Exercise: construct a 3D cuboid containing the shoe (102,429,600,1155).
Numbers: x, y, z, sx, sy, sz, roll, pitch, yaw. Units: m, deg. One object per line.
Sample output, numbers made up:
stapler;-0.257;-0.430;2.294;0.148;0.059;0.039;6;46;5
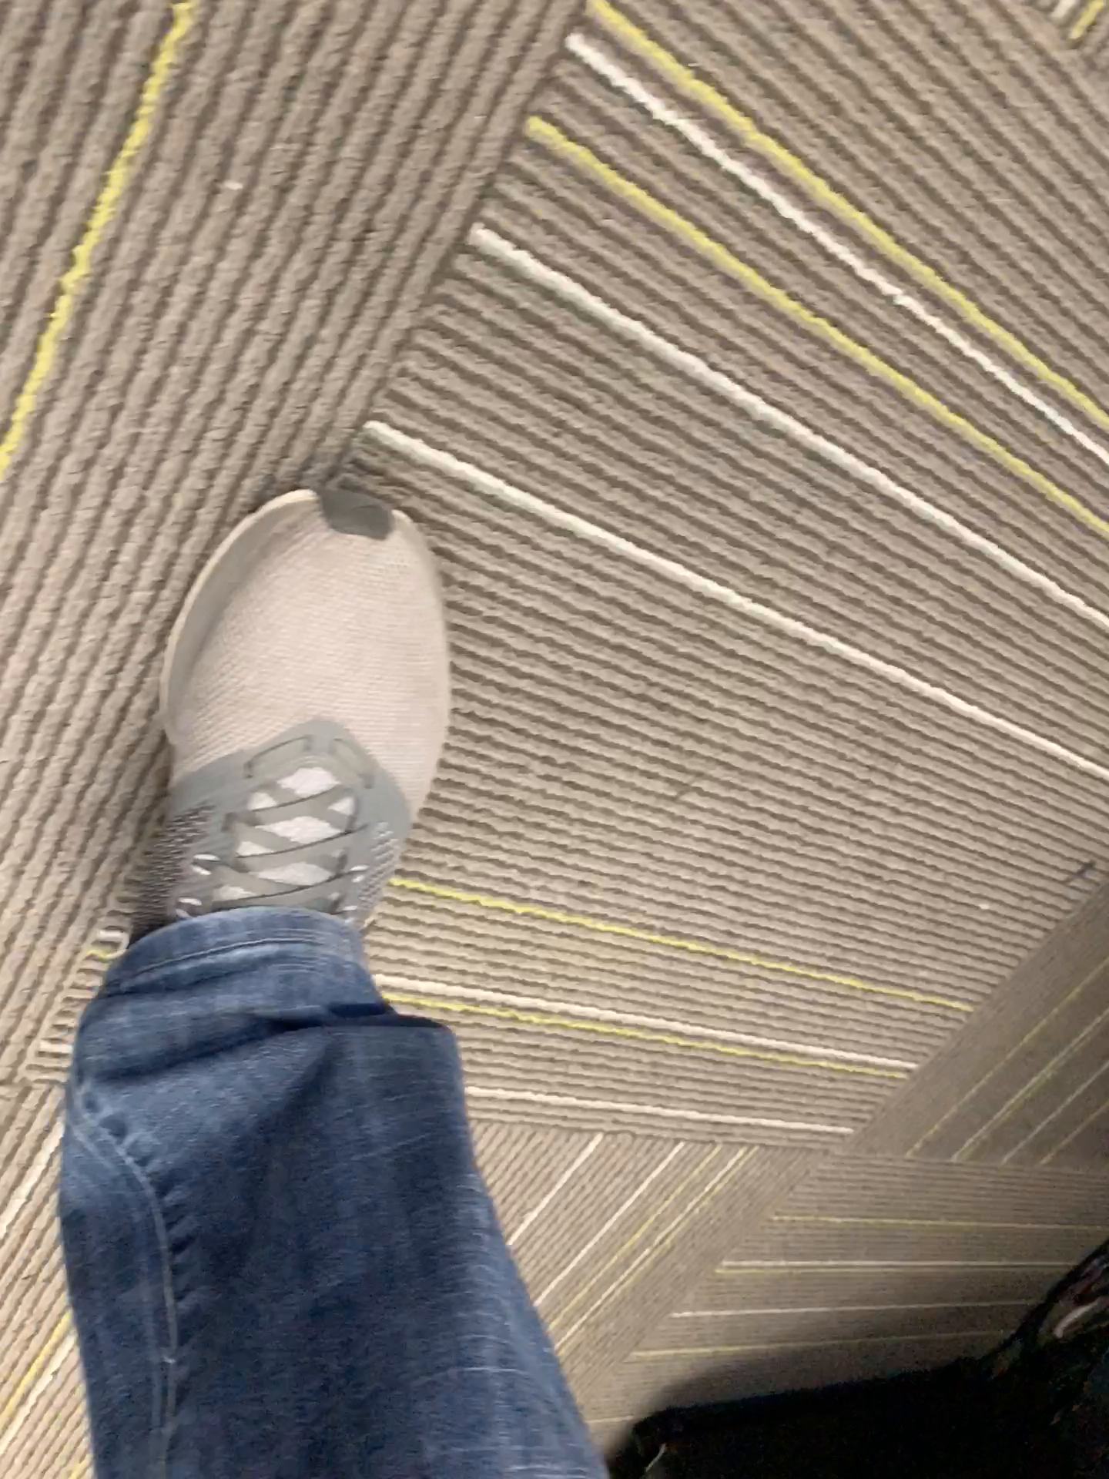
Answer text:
shoe;-0.105;0.039;0.489;0.128;0.092;0.301;4;125;-27
